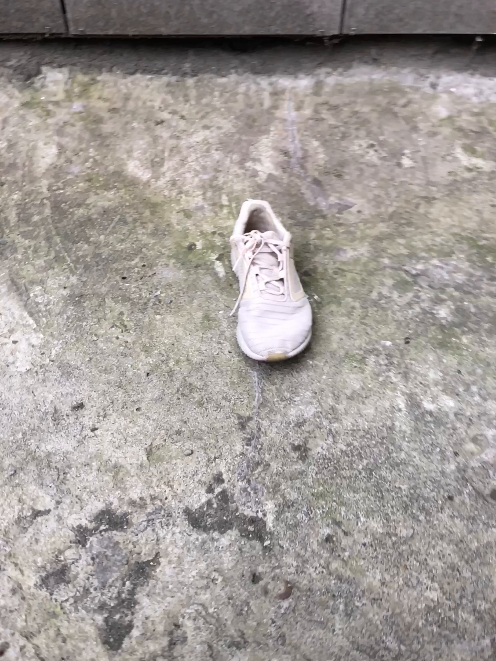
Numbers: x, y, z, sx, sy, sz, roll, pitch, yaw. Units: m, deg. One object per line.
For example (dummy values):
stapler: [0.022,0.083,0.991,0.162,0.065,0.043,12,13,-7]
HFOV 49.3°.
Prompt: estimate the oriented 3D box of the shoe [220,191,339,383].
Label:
shoe: [0.033,-0.078,0.804,0.120,0.109,0.302,-5,44,-5]
